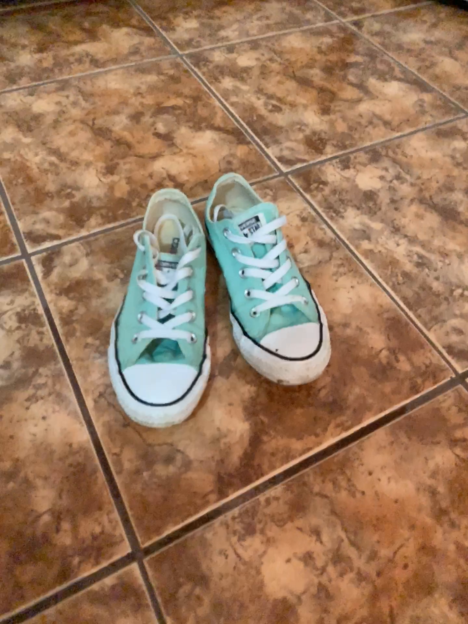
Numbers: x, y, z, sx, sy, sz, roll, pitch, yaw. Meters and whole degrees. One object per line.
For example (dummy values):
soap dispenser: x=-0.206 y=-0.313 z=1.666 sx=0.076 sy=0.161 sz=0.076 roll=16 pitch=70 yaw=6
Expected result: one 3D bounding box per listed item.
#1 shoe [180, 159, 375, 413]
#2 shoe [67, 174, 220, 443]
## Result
shoe: x=0.027 y=-0.038 z=0.470 sx=0.094 sy=0.084 sz=0.244 roll=-14 pitch=55 yaw=-14
shoe: x=-0.069 y=-0.013 z=0.448 sx=0.098 sy=0.094 sz=0.244 roll=3 pitch=53 yaw=-1
